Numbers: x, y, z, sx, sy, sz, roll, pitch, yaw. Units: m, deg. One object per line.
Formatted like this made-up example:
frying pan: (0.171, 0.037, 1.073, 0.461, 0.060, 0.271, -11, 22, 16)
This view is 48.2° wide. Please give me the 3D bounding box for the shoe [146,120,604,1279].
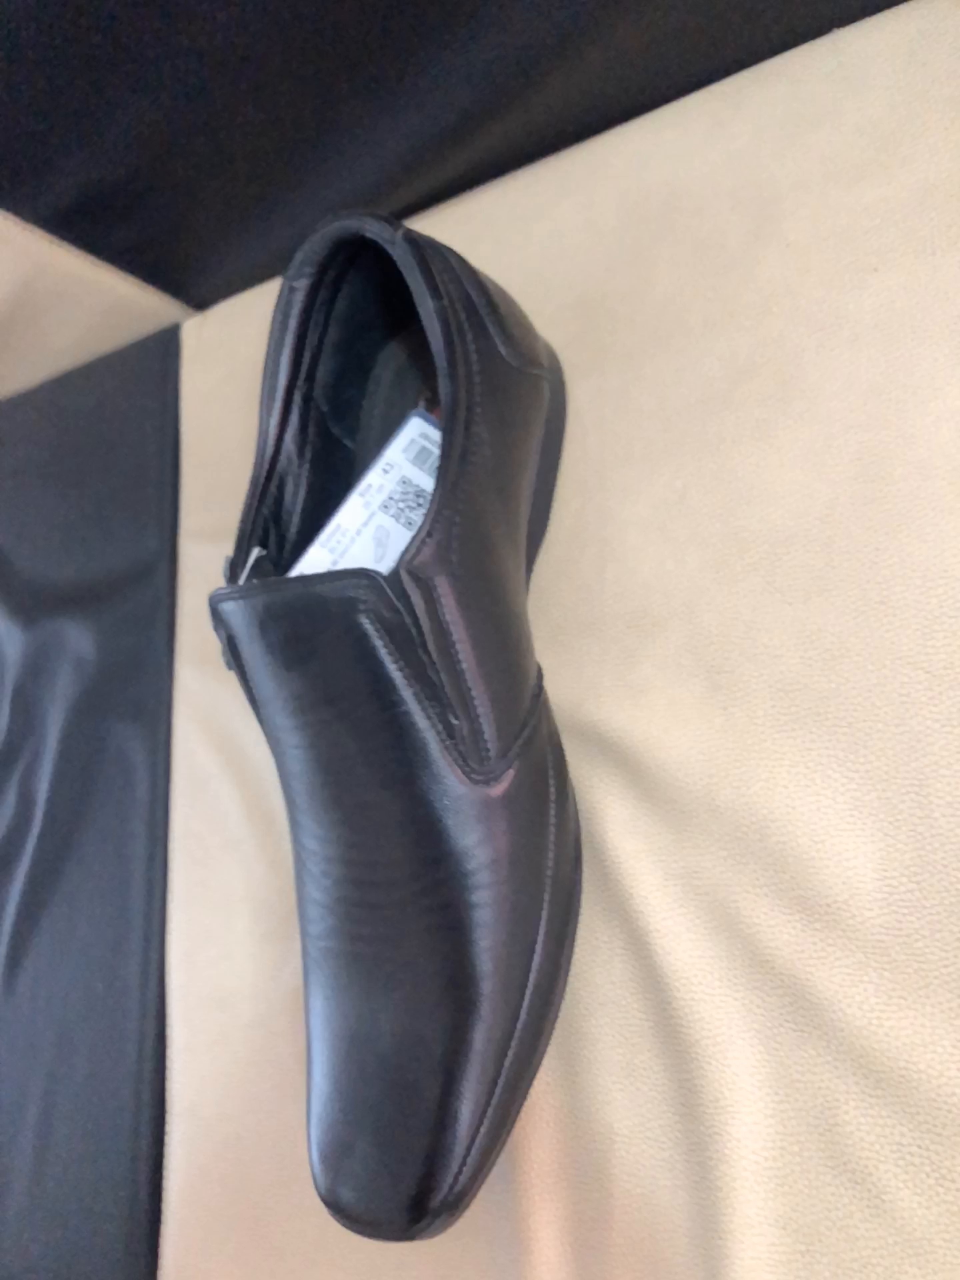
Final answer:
shoe: (-0.027, 0.018, 0.346, 0.100, 0.090, 0.320, -6, 77, 35)
